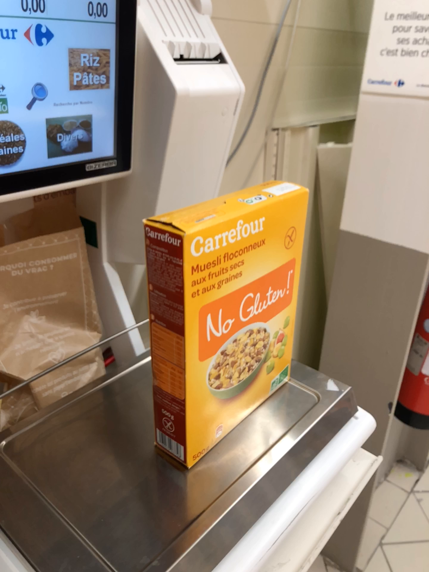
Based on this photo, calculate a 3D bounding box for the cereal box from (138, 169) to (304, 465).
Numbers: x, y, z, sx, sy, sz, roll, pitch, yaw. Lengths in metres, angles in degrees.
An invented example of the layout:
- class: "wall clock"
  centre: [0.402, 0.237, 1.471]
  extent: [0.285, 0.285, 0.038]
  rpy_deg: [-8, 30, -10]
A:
- class: "cereal box"
  centre: [0.012, 0.025, 0.504]
  extent: [0.050, 0.258, 0.191]
  rpy_deg: [20, 31, 34]
